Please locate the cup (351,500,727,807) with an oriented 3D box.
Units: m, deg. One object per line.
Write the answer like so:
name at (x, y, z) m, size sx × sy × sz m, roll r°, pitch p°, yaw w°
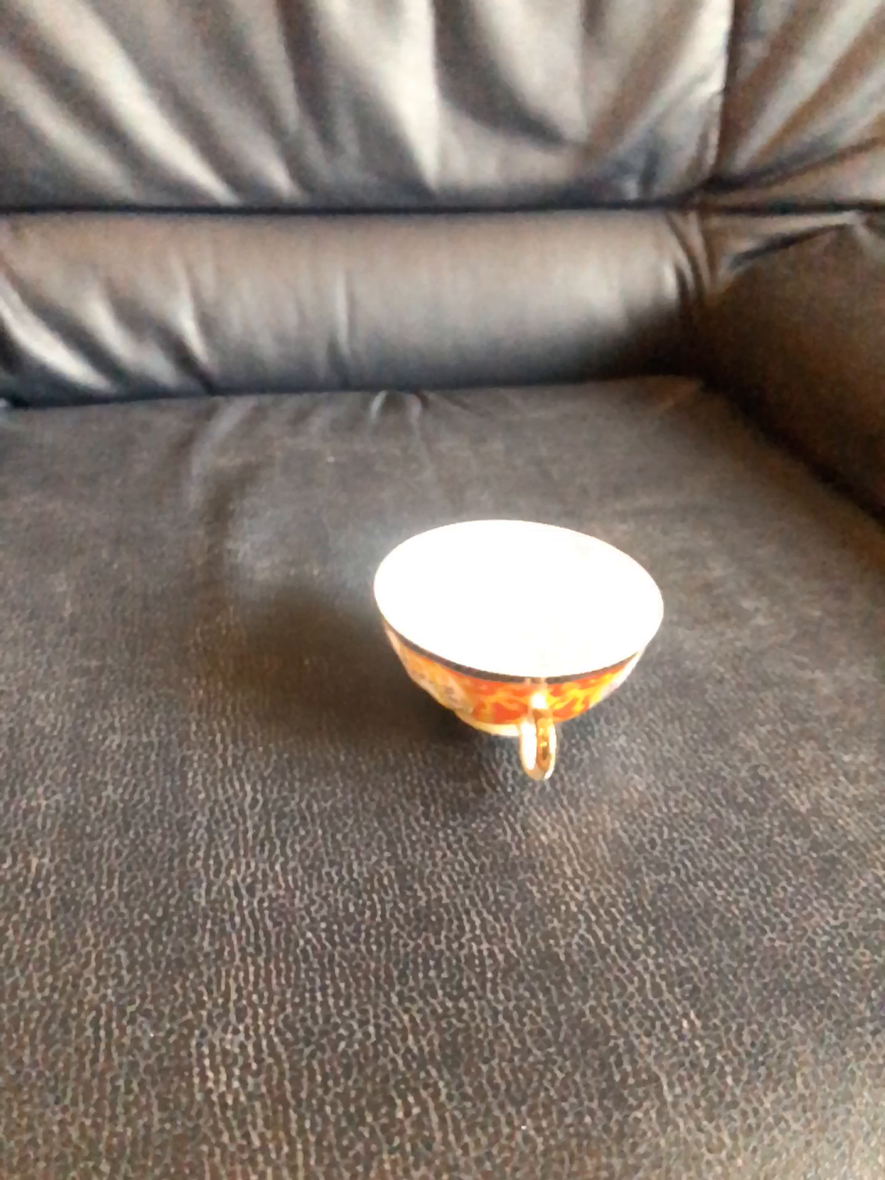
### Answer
cup at (0.024, 0.015, 0.335) m, size 0.100 × 0.041 × 0.108 m, roll 3°, pitch 34°, yaw -2°
